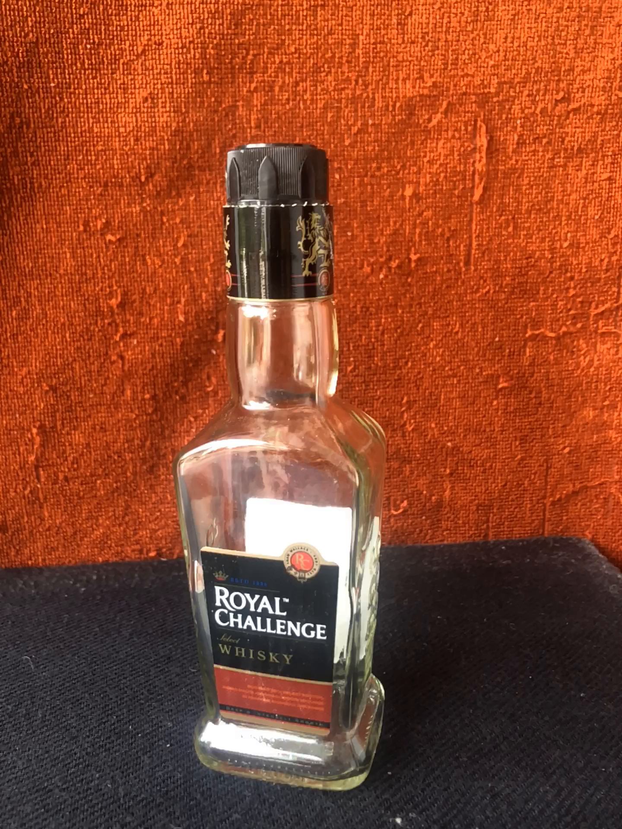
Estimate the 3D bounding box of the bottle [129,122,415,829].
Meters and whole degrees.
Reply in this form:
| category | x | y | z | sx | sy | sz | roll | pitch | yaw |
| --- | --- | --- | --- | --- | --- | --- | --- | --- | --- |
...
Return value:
| category | x | y | z | sx | sy | sz | roll | pitch | yaw |
| --- | --- | --- | --- | --- | --- | --- | --- | --- | --- |
| bottle | -0.008 | 0.021 | 0.201 | 0.060 | 0.189 | 0.050 | 5 | 16 | 12 |
